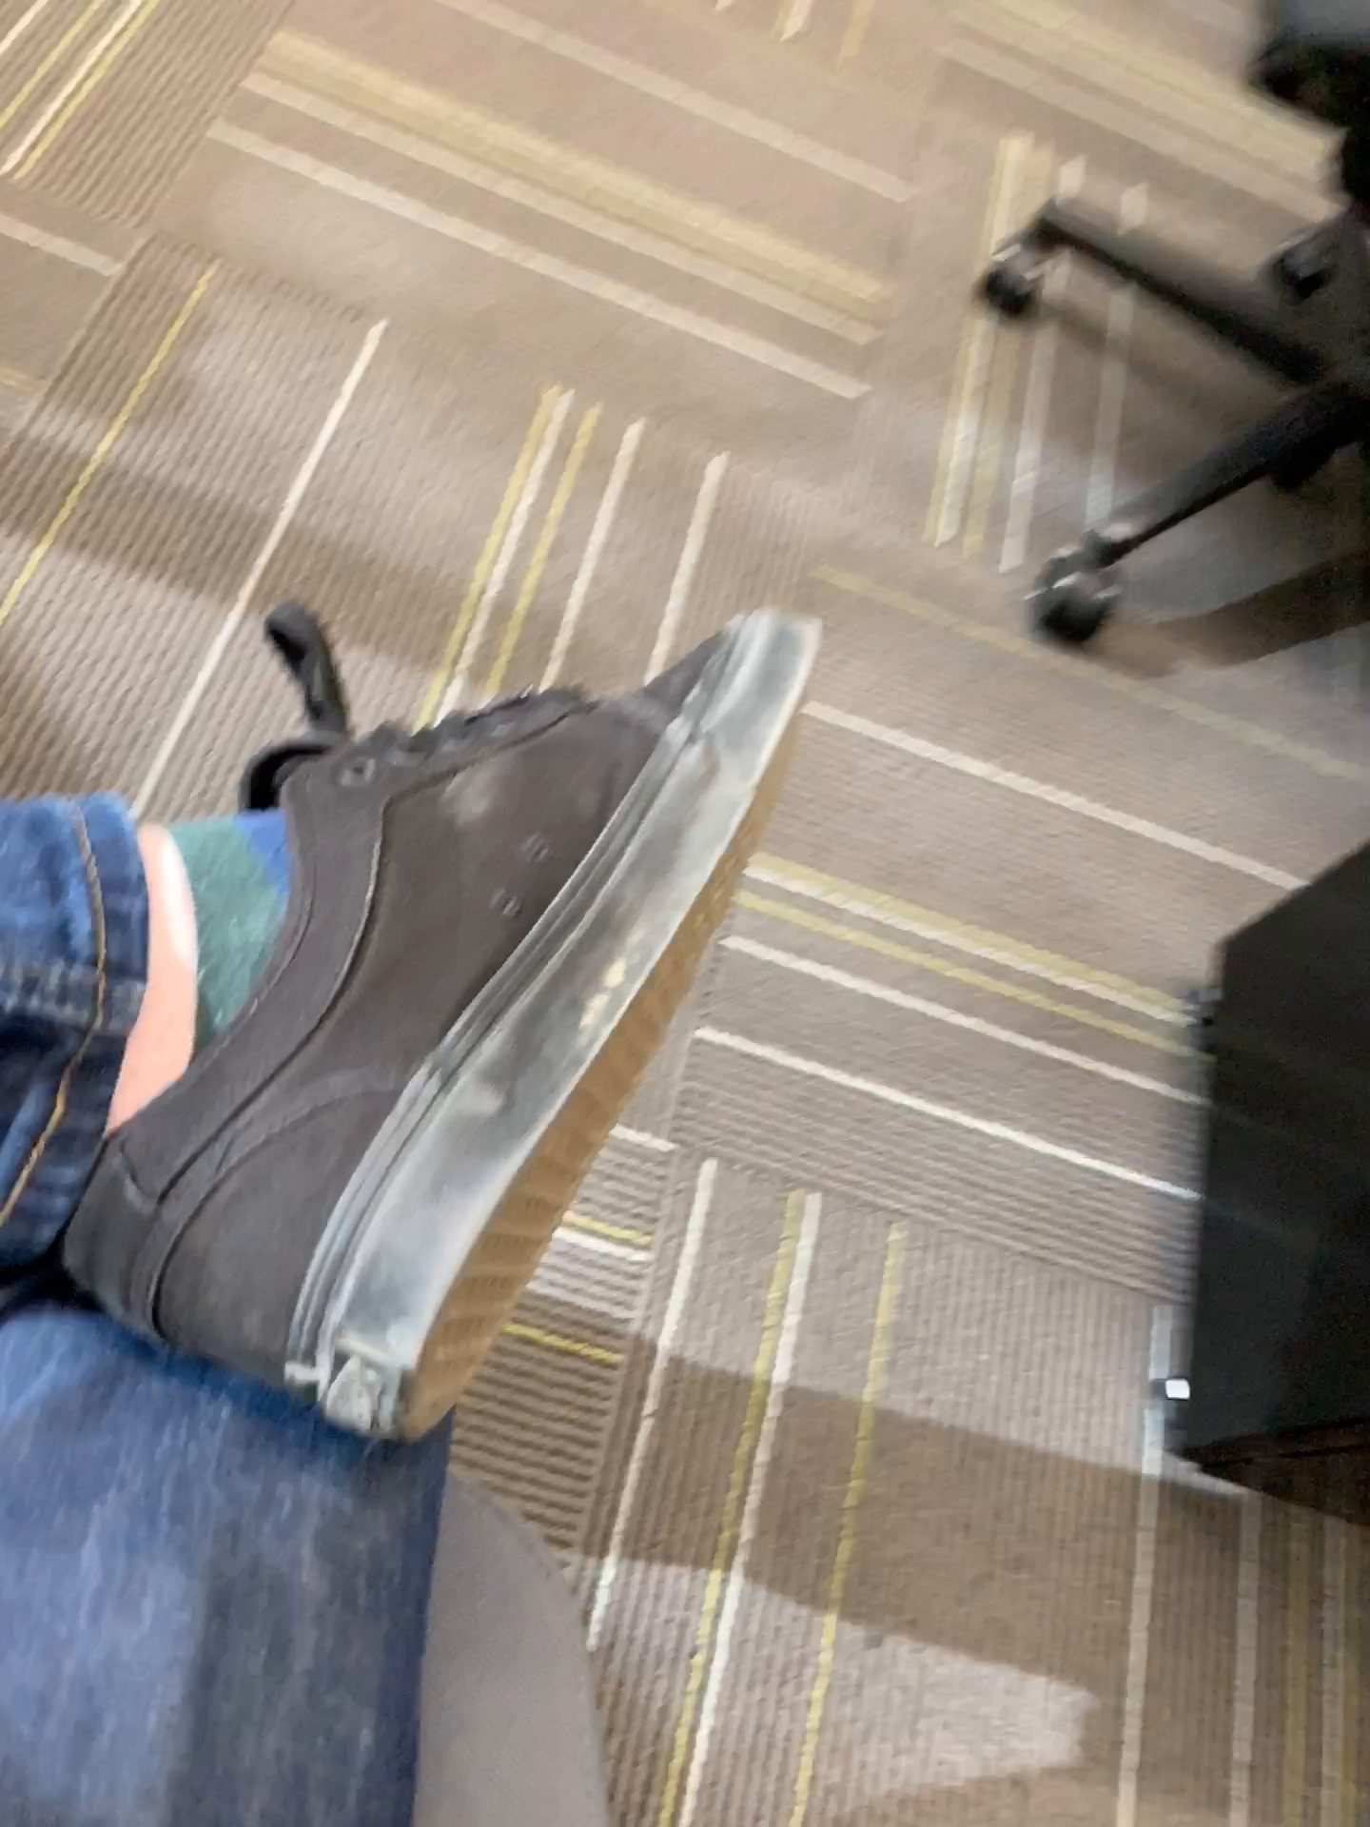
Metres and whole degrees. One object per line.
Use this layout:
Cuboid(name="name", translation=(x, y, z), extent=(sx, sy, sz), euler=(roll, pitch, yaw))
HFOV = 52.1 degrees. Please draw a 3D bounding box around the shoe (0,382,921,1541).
Cuboid(name="shoe", translation=(-0.057, 0.005, 0.381), extent=(0.134, 0.120, 0.261), euler=(25, 60, 5))
